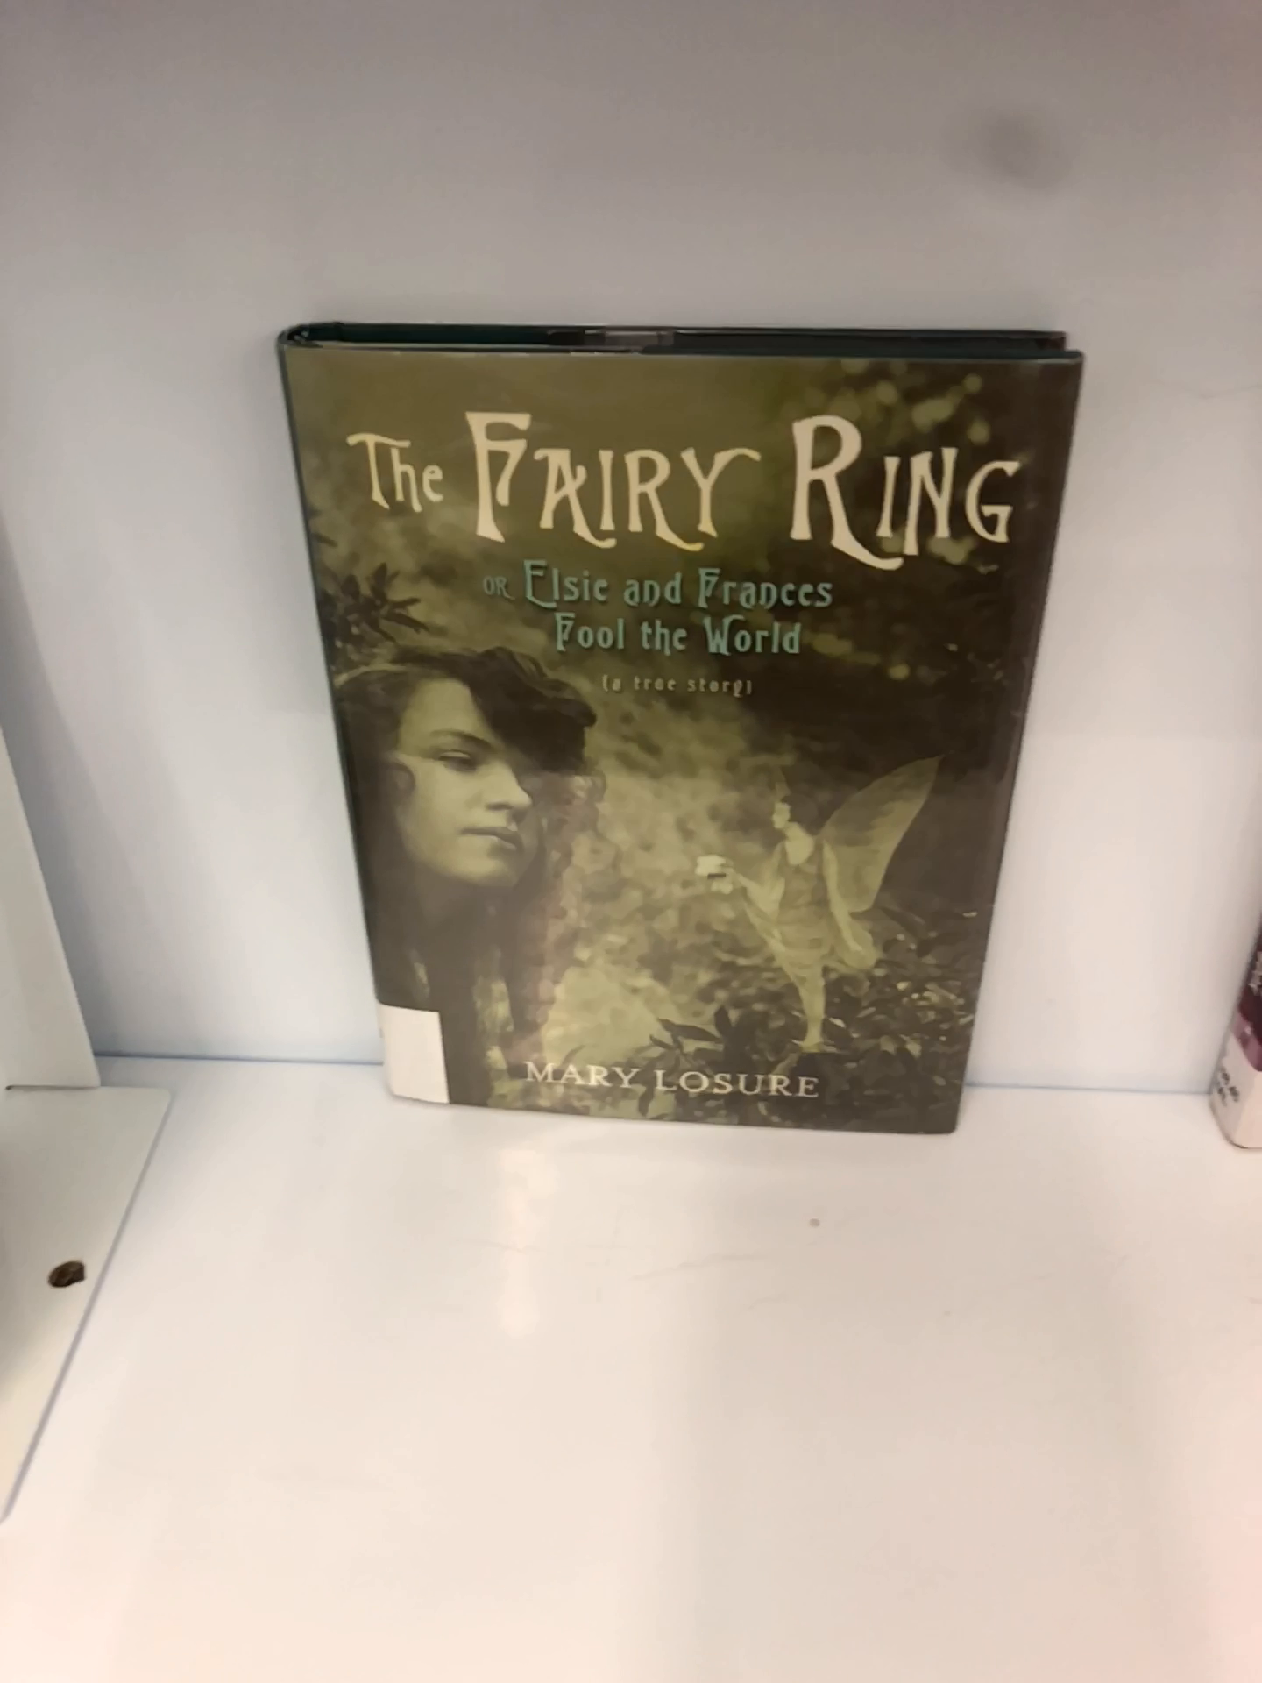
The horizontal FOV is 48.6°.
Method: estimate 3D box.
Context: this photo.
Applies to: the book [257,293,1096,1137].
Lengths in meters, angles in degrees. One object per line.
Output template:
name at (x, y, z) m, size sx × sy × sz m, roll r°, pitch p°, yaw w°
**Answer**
book at (0.008, -0.018, 0.311) m, size 0.150 × 0.190 × 0.028 m, roll 2°, pitch 32°, yaw 4°
